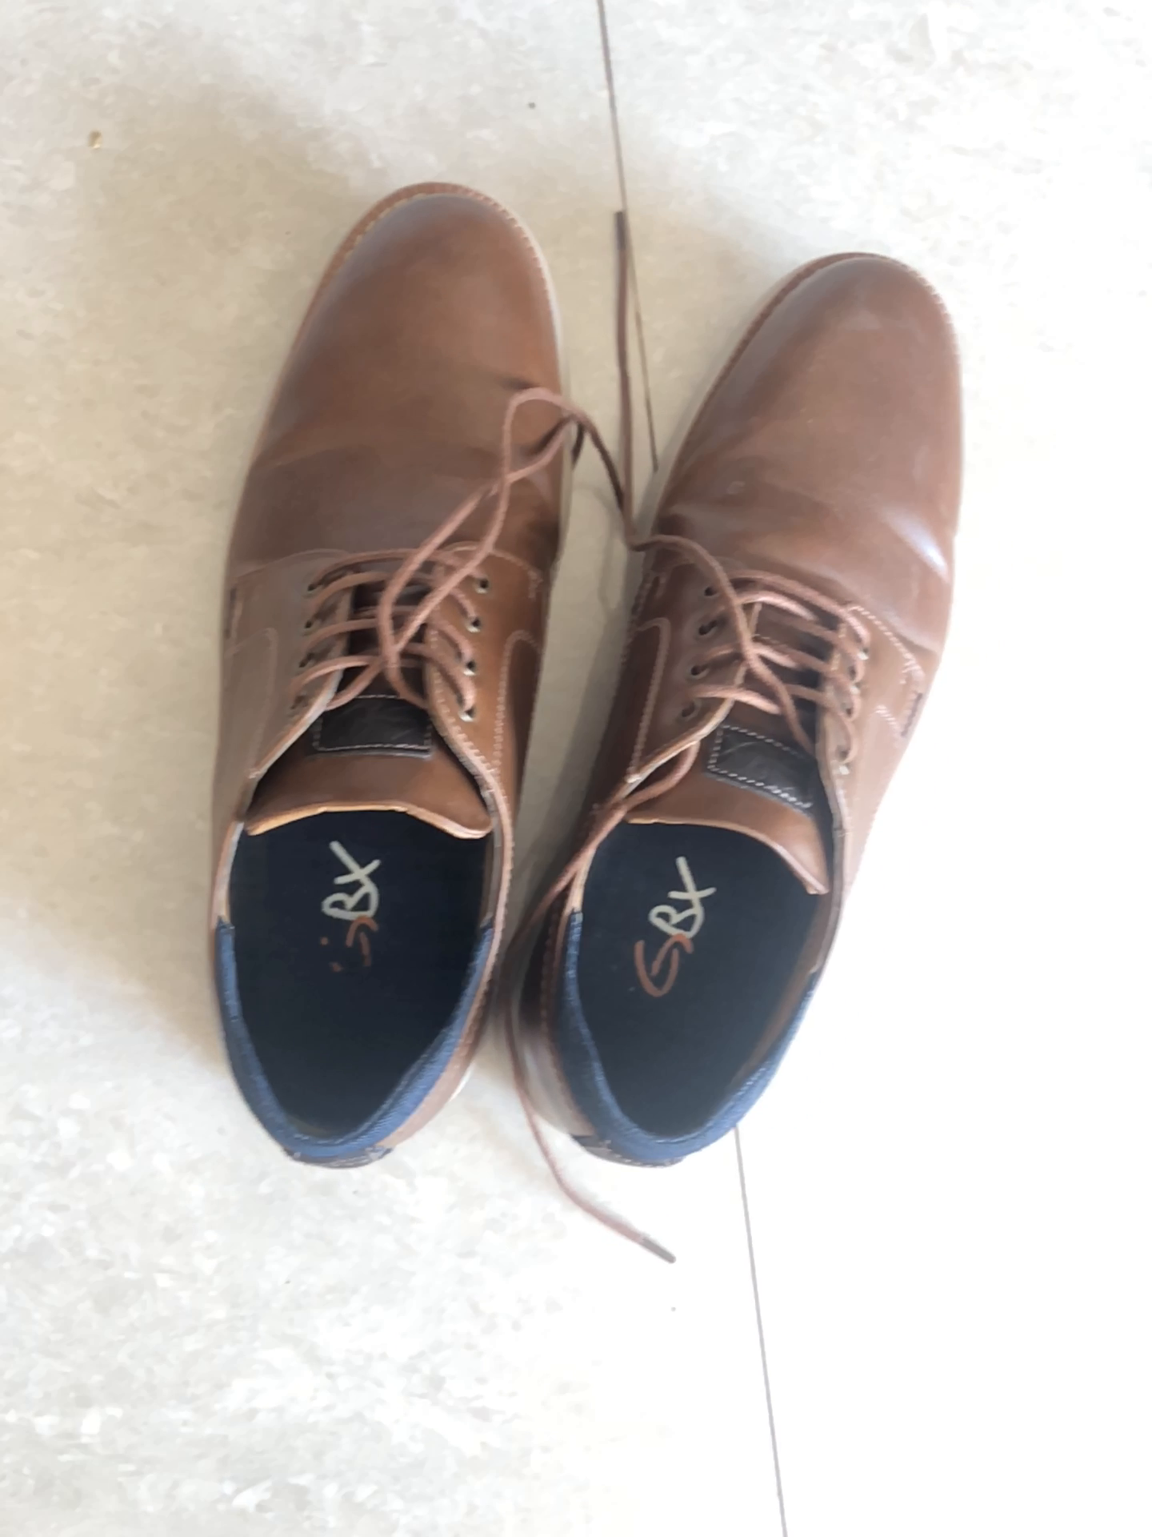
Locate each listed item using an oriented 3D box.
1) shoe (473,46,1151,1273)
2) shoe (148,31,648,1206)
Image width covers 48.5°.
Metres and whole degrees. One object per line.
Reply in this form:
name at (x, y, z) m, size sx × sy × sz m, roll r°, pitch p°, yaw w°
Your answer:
shoe at (0.063, -0.030, 0.389) m, size 0.100 × 0.100 × 0.310 m, roll 17°, pitch 87°, yaw -4°
shoe at (-0.050, -0.040, 0.397) m, size 0.100 × 0.100 × 0.310 m, roll 6°, pitch 88°, yaw -4°
